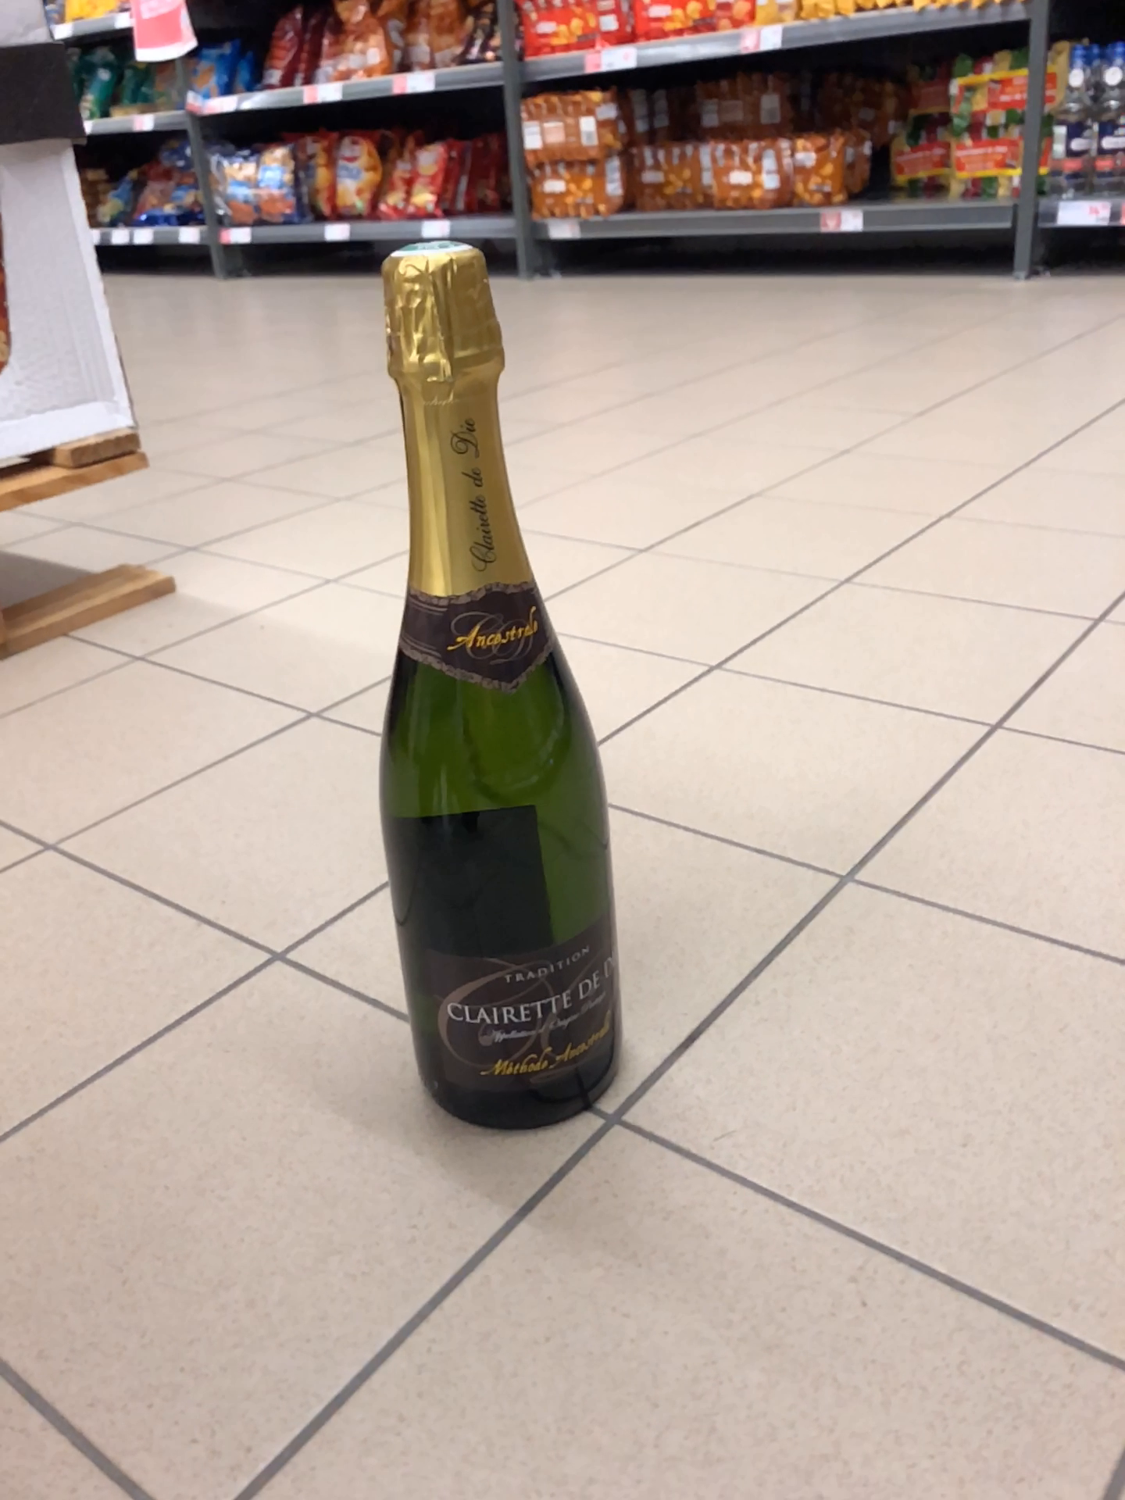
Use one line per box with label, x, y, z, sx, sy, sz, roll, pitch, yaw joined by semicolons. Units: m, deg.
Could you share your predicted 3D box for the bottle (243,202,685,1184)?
bottle;-0.028;-0.015;0.438;0.100;0.318;0.100;-4;25;2
